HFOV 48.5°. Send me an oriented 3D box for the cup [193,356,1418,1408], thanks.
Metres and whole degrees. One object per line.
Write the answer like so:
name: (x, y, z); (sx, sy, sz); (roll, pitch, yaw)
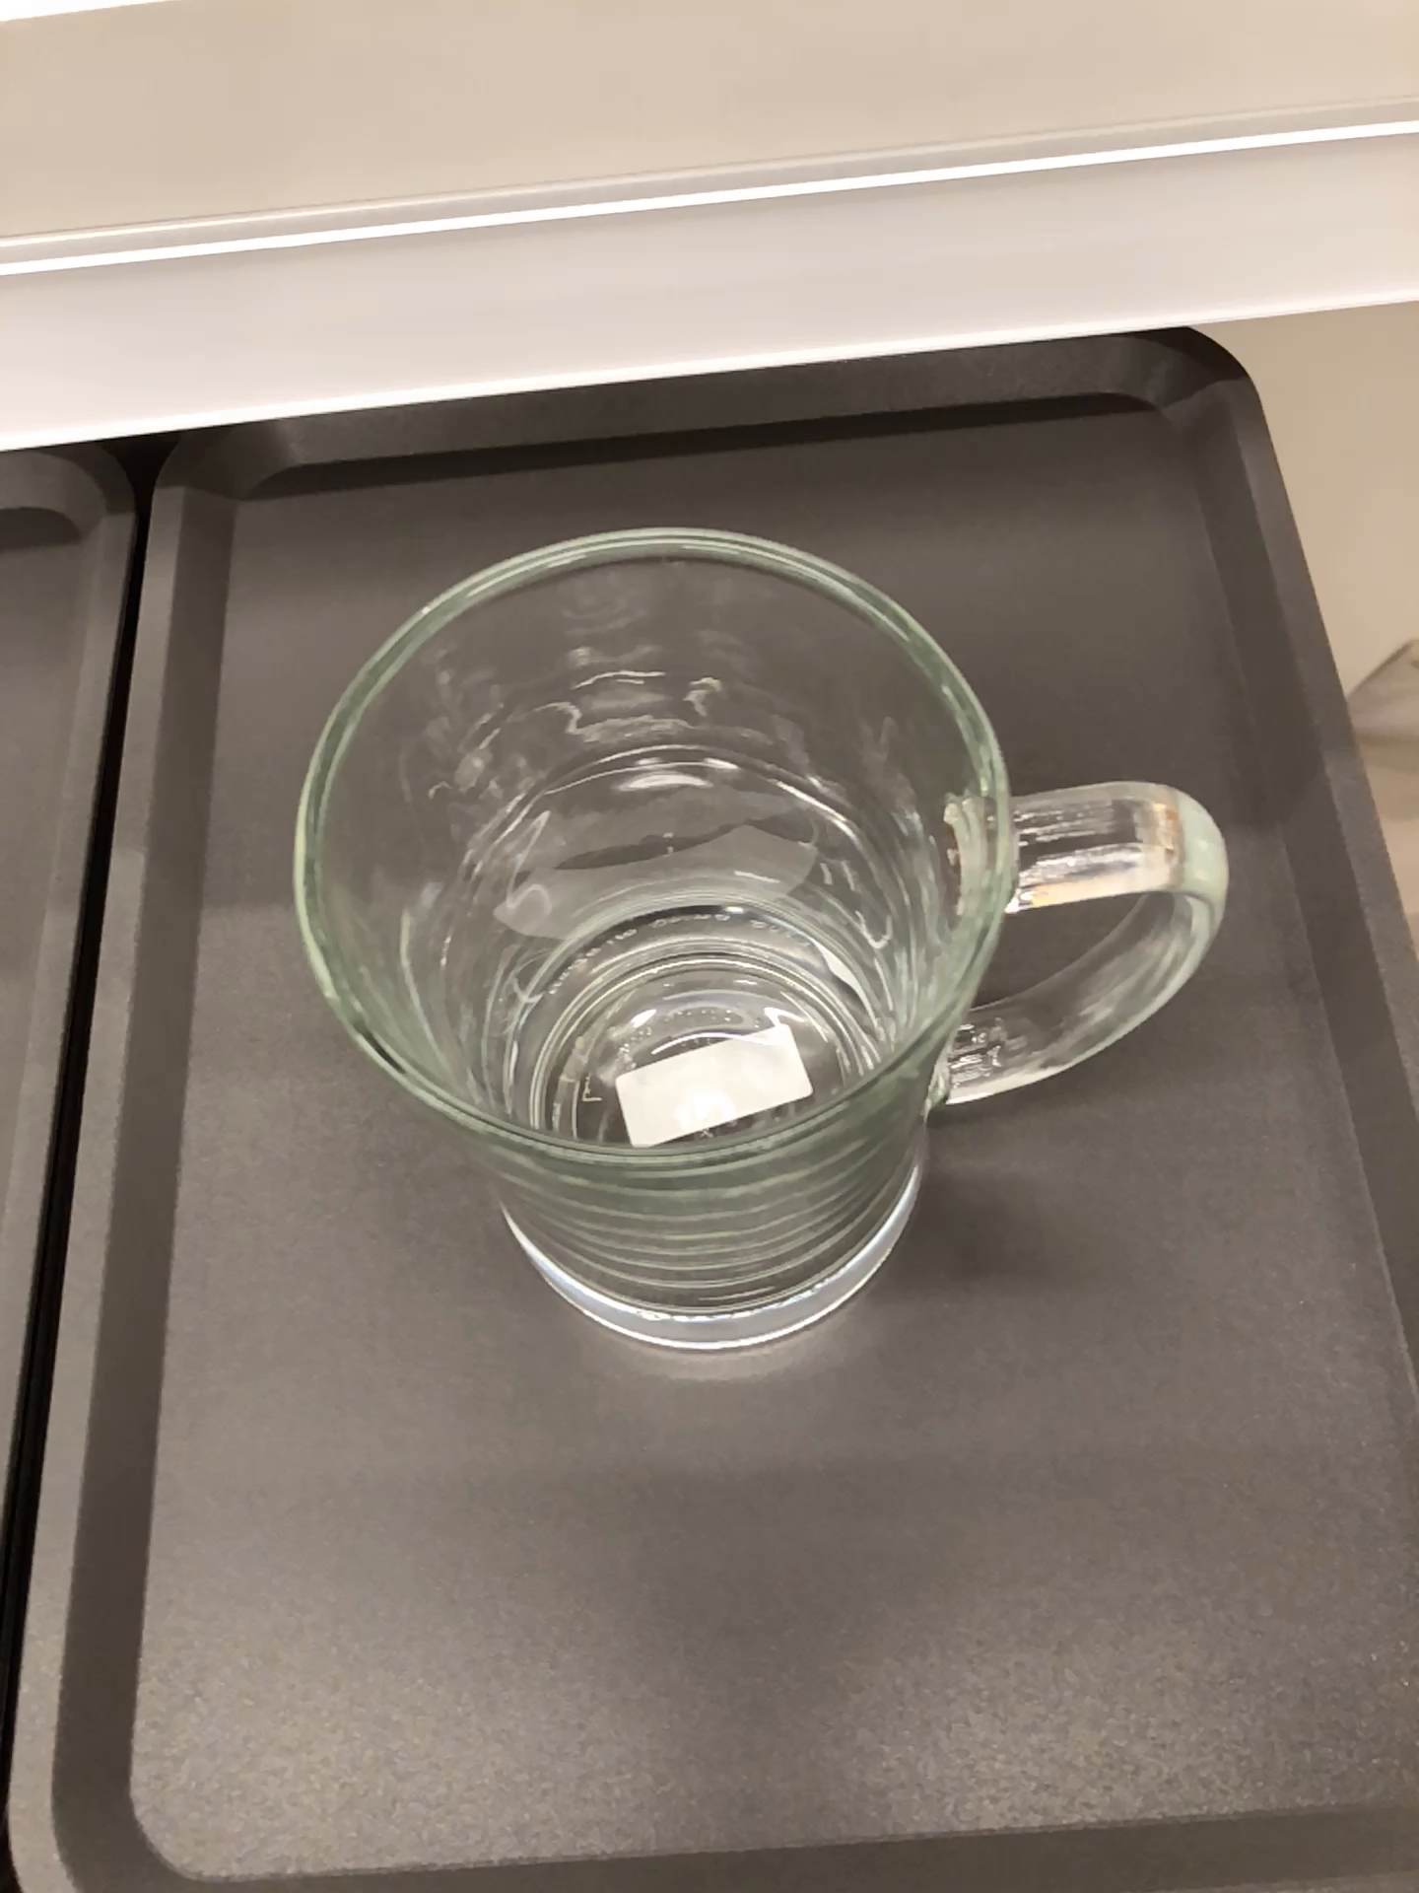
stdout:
cup: (0.013, -0.001, 0.282); (0.160, 0.130, 0.110); (-12, 65, -2)
